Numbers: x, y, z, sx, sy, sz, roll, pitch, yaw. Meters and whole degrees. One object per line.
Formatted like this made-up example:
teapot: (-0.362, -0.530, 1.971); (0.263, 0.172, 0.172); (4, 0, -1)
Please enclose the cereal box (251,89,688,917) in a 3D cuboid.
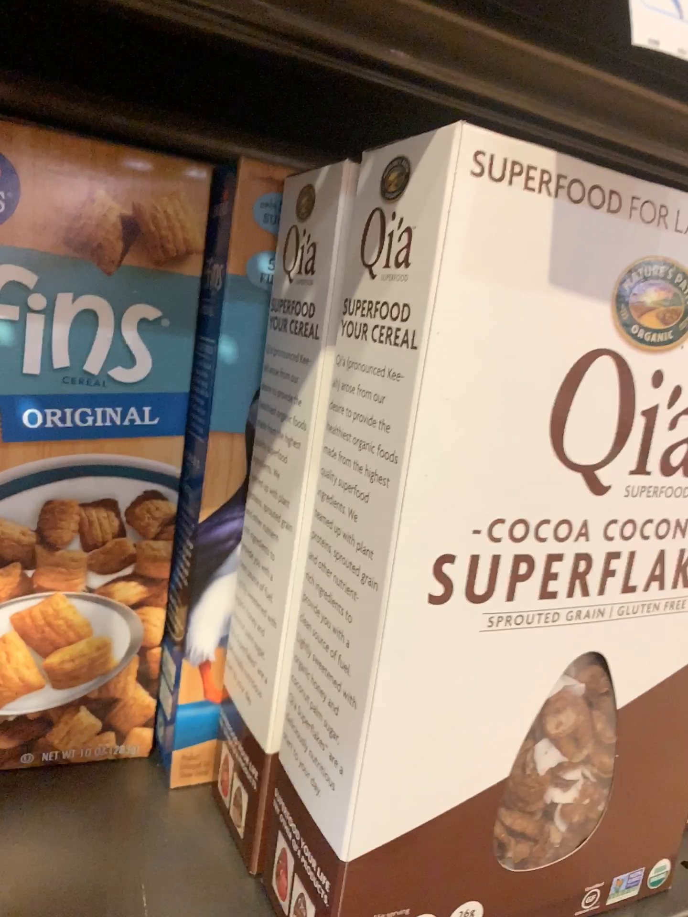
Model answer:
cereal box: (0.068, 0.036, 0.254); (0.160, 0.259, 0.060); (3, 11, -28)
